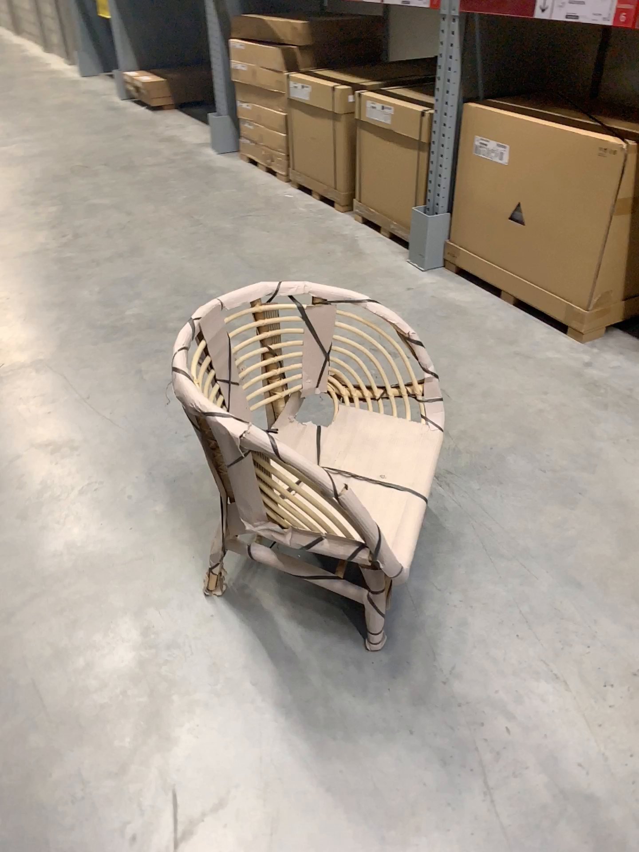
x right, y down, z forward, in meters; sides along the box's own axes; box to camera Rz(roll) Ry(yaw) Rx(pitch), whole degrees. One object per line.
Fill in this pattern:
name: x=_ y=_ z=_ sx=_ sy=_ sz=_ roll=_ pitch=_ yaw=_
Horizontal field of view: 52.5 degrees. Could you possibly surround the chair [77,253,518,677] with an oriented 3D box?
chair: x=0.018 y=0.023 z=1.599 sx=0.761 sy=0.568 sz=0.753 roll=11 pitch=38 yaw=16
